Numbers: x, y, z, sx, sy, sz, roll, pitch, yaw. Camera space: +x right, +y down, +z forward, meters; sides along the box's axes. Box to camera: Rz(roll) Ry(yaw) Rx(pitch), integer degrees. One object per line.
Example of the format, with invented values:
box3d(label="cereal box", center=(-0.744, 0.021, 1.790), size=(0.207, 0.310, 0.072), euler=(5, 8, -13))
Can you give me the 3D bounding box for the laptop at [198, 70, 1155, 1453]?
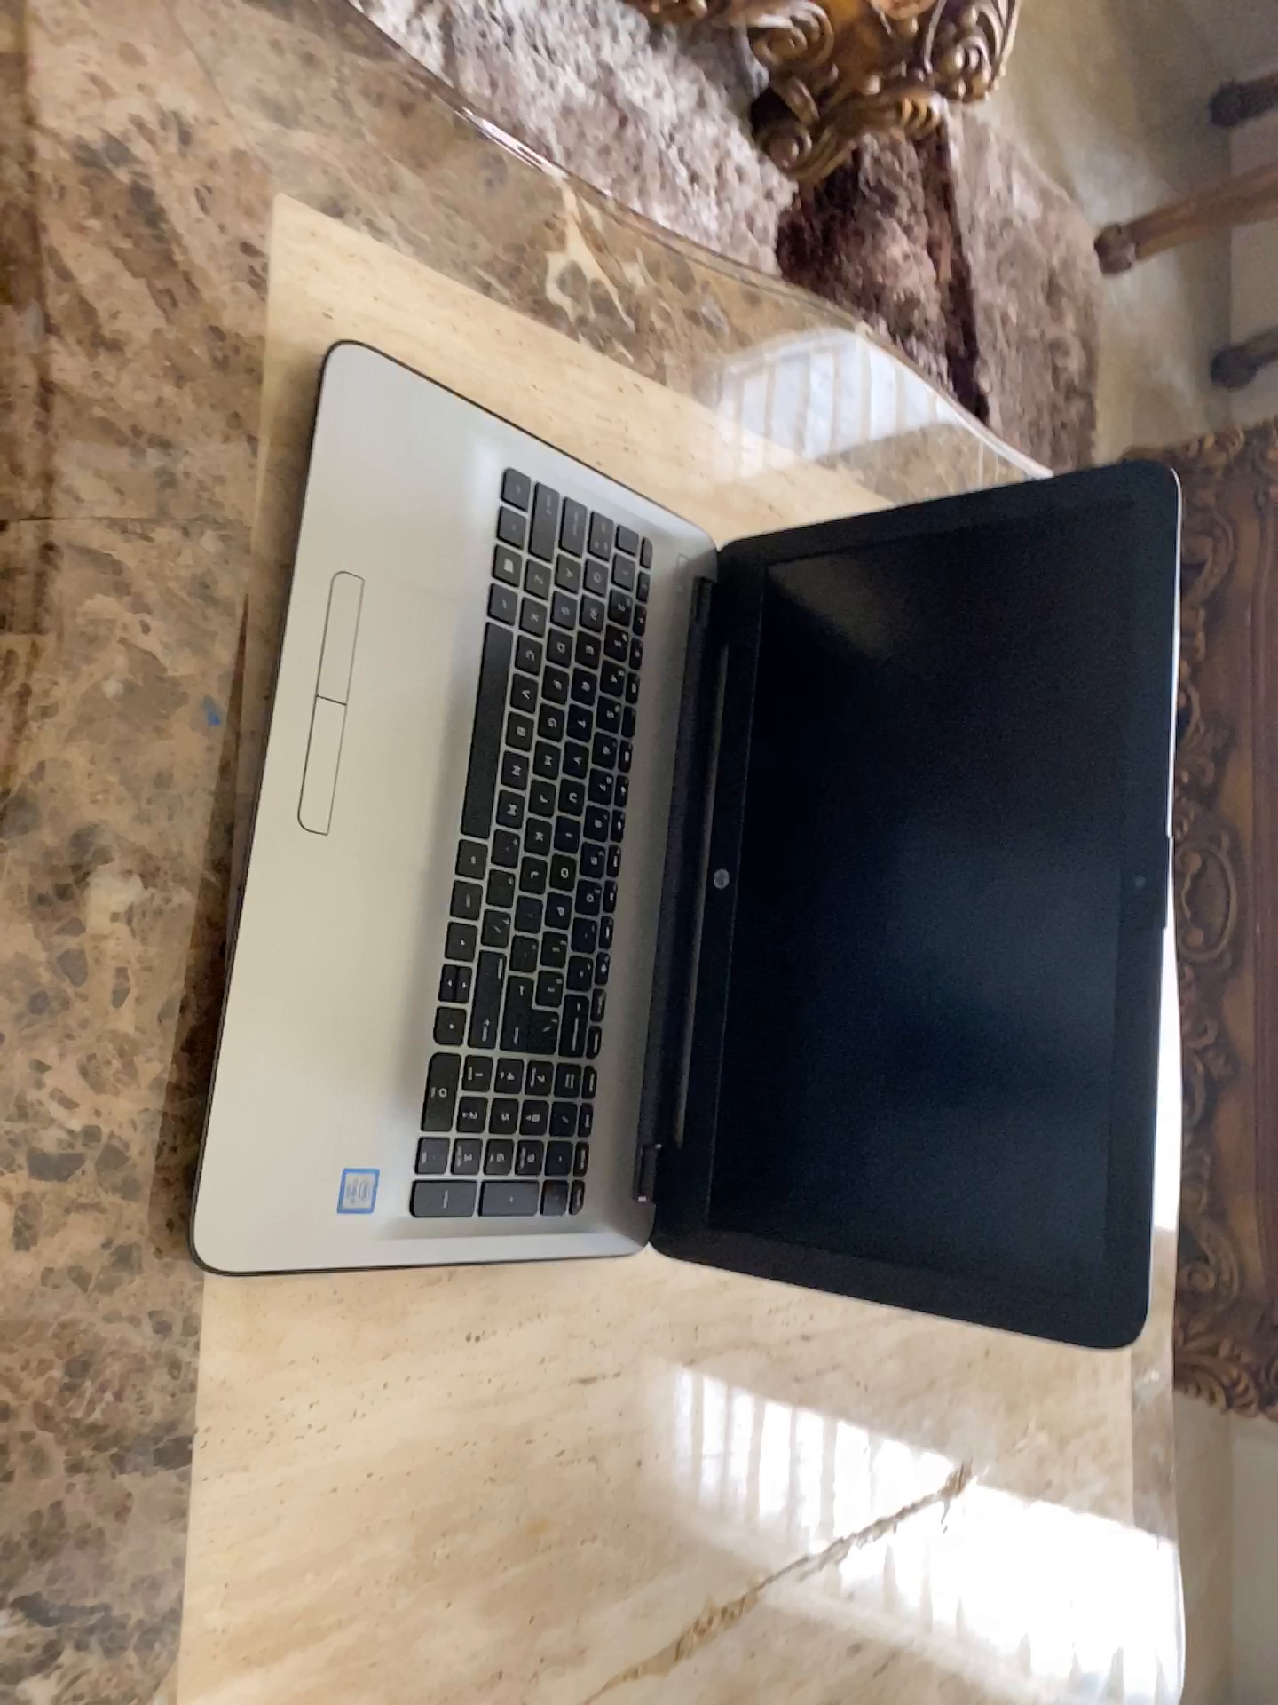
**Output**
box3d(label="laptop", center=(0.031, -0.009, 0.520), size=(0.266, 0.240, 0.371), euler=(15, 77, -46))
